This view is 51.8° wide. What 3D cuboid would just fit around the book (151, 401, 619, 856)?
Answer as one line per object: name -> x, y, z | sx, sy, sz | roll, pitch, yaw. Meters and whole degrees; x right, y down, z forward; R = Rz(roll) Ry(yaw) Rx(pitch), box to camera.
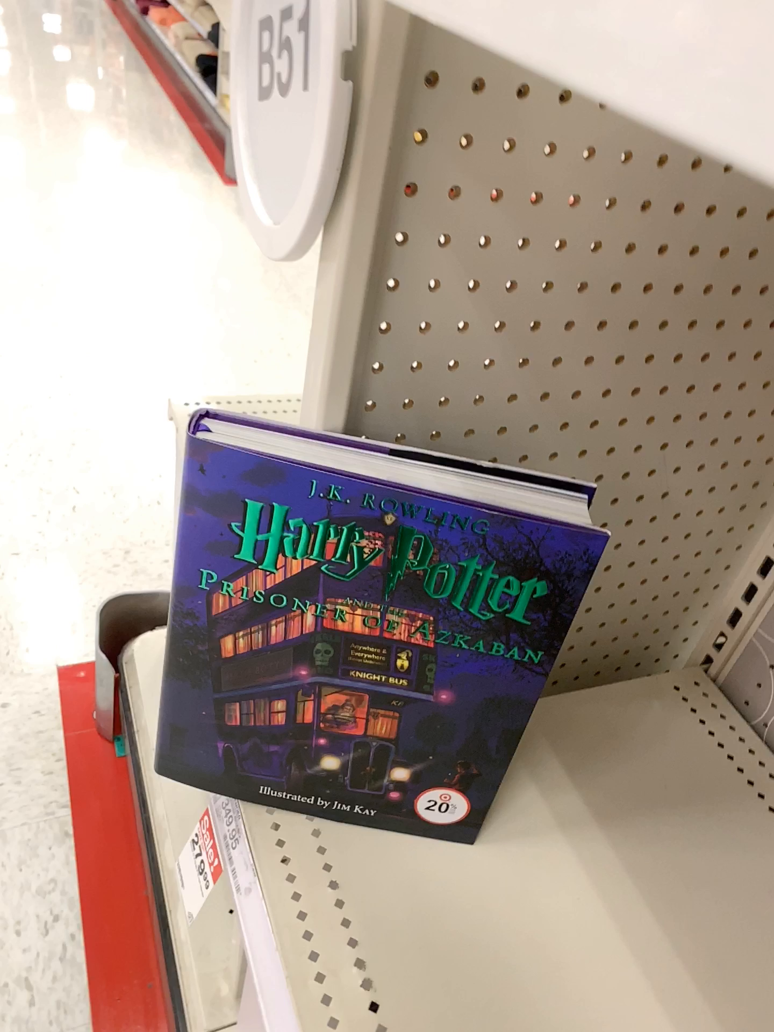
book -> -0.020, 0.088, 0.508 | 0.240, 0.280, 0.050 | 12, 32, -2
